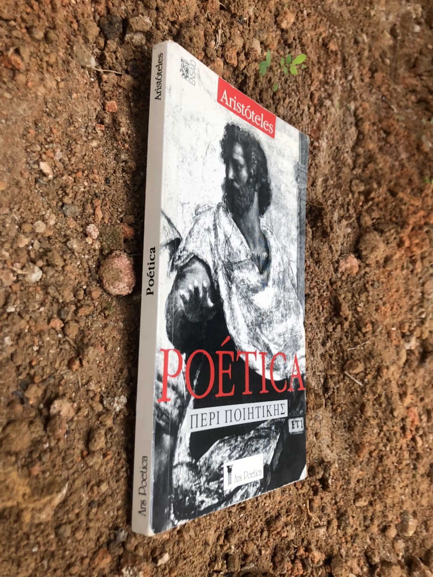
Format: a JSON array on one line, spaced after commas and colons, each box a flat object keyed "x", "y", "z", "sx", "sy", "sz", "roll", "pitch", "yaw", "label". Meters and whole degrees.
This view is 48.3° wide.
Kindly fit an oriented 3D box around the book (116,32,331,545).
[{"x": 0.016, "y": 0.002, "z": 0.230, "sx": 0.131, "sy": 0.015, "sz": 0.189, "roll": 10, "pitch": 79, "yaw": -48, "label": "book"}]
